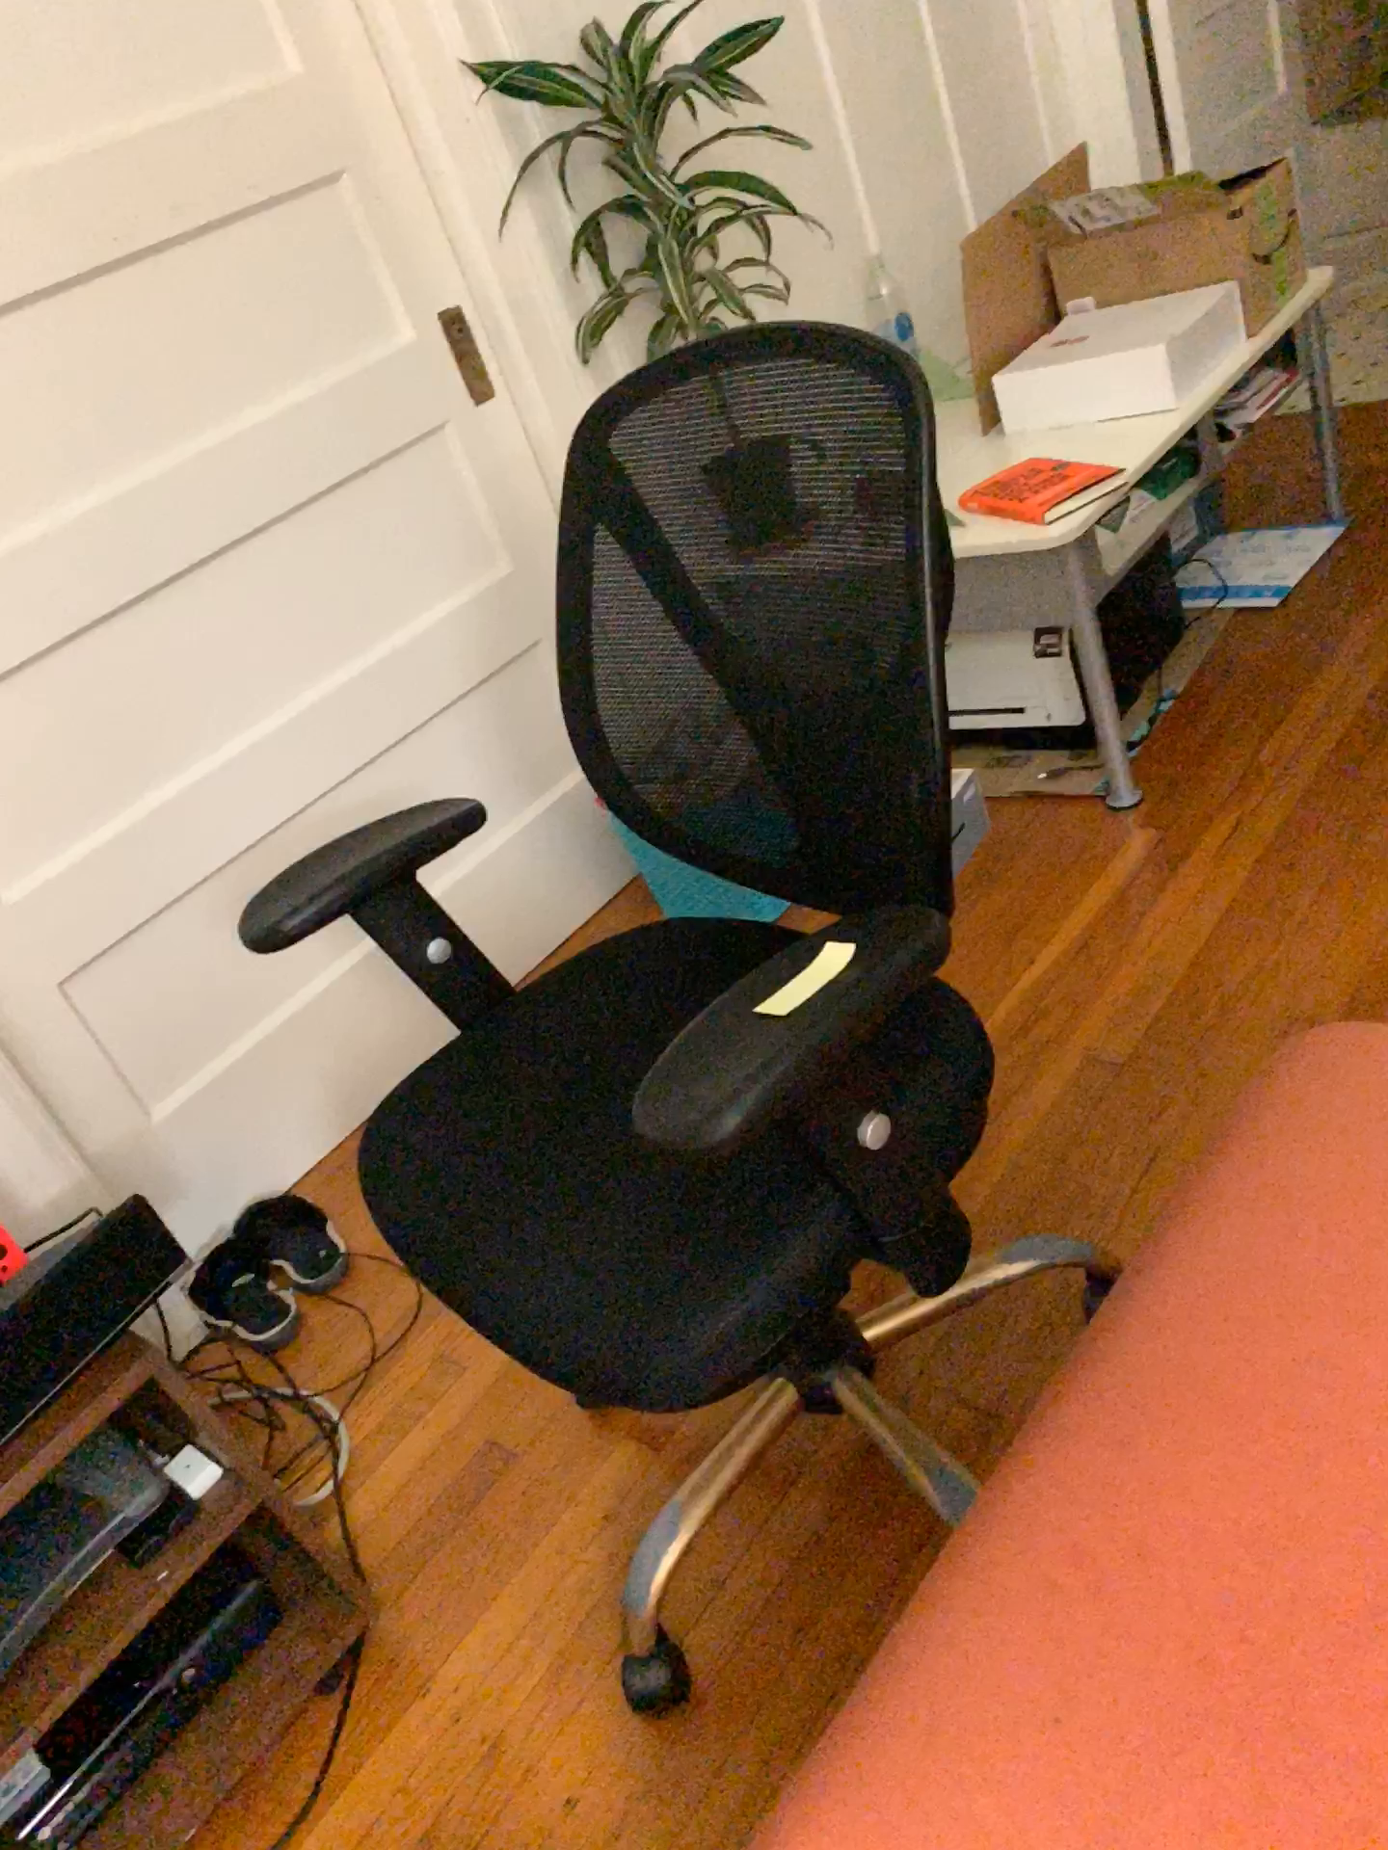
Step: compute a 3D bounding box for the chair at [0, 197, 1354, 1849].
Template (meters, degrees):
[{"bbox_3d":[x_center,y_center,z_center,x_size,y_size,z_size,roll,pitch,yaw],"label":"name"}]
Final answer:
[{"bbox_3d":[0.040,0.050,1.199,0.660,0.974,0.644,-32,30,-26],"label":"chair"}]
